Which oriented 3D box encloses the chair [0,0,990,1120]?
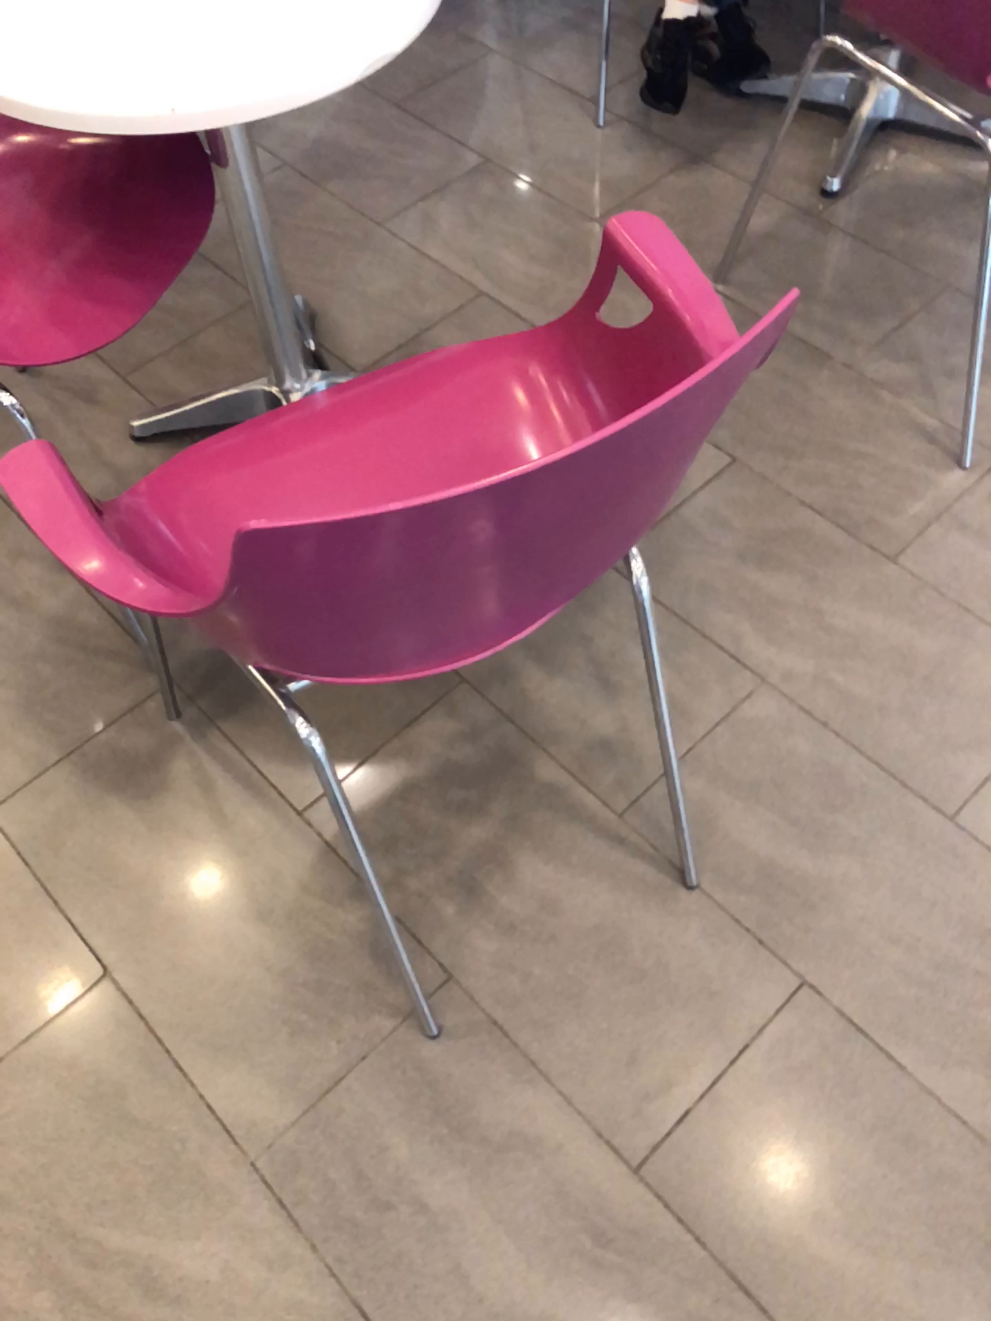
[{"bbox_3d":[-0.097,-0.077,1.118,0.620,0.838,0.671,-26,59,-11],"label":"chair"}]
